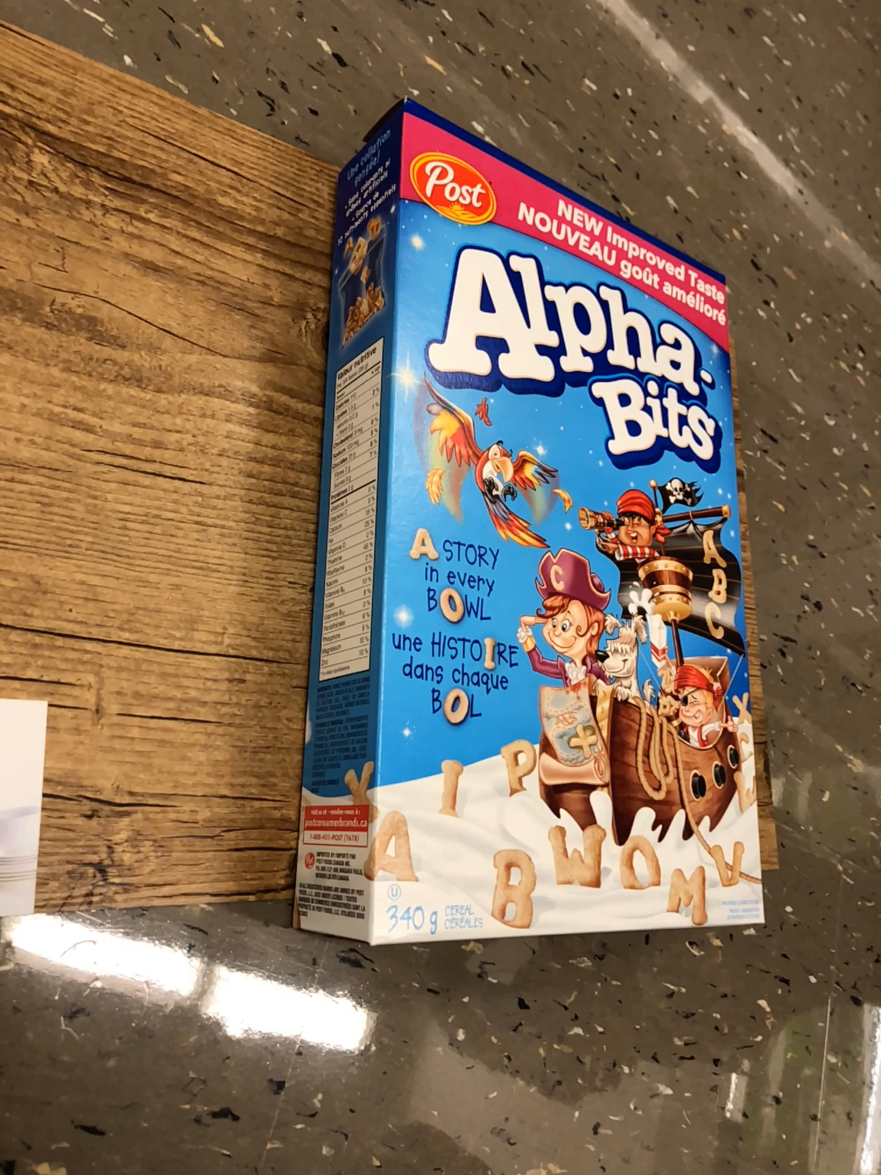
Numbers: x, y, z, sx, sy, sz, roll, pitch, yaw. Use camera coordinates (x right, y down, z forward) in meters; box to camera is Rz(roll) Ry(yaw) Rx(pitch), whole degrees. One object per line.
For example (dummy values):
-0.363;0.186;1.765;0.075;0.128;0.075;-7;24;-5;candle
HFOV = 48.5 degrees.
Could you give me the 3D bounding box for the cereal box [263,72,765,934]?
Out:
0.040;-0.023;0.413;0.201;0.060;0.310;12;72;-35;cereal box
